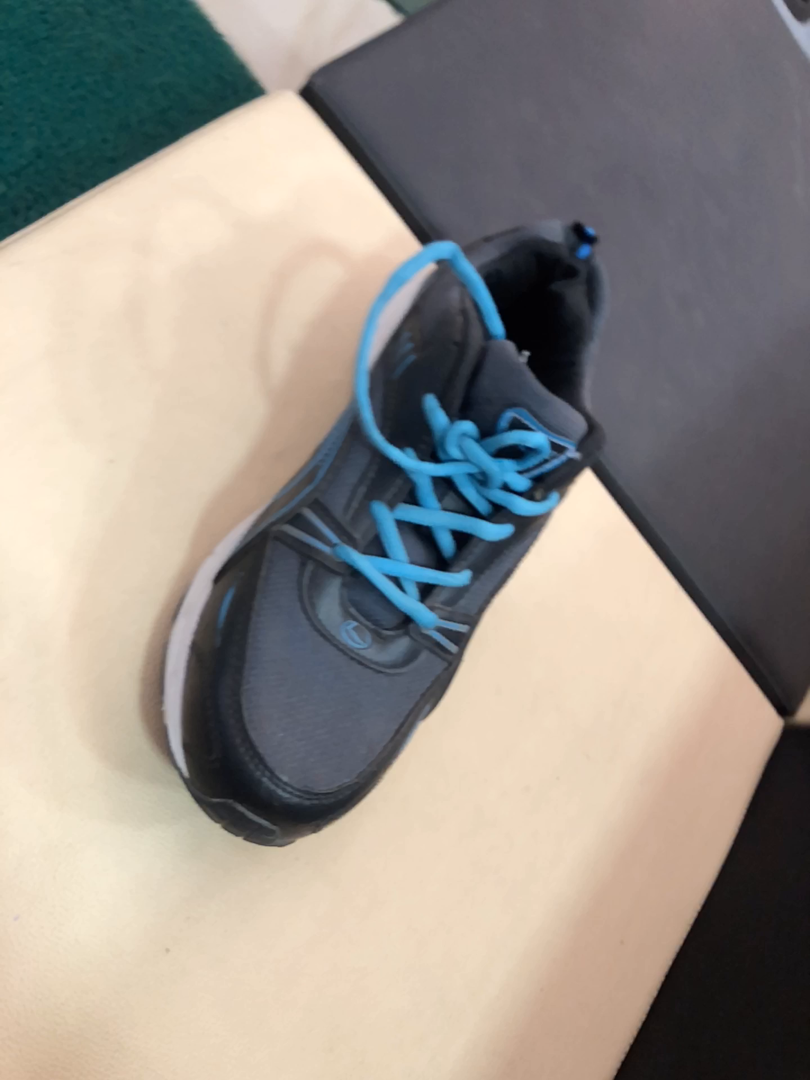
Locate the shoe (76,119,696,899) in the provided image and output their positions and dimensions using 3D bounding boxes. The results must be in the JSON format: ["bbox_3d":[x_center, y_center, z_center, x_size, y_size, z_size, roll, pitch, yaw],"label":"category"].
[{"bbox_3d":[0.005,-0.020,0.352,0.100,0.099,0.271,38,61,-19],"label":"shoe"}]
